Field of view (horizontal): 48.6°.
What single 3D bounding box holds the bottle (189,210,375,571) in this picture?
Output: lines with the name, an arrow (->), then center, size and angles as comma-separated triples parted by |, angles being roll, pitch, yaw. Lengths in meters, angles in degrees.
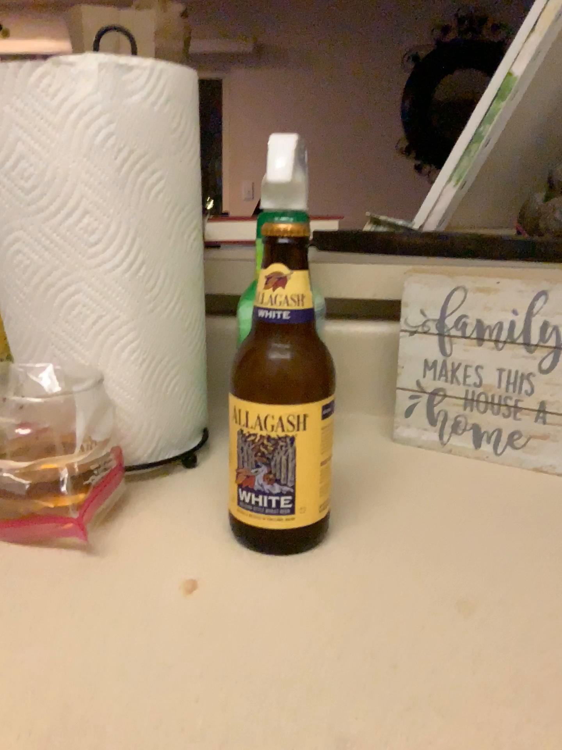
bottle -> 0.002, 0.002, 0.368 | 0.080, 0.190, 0.080 | 1, 14, 0
